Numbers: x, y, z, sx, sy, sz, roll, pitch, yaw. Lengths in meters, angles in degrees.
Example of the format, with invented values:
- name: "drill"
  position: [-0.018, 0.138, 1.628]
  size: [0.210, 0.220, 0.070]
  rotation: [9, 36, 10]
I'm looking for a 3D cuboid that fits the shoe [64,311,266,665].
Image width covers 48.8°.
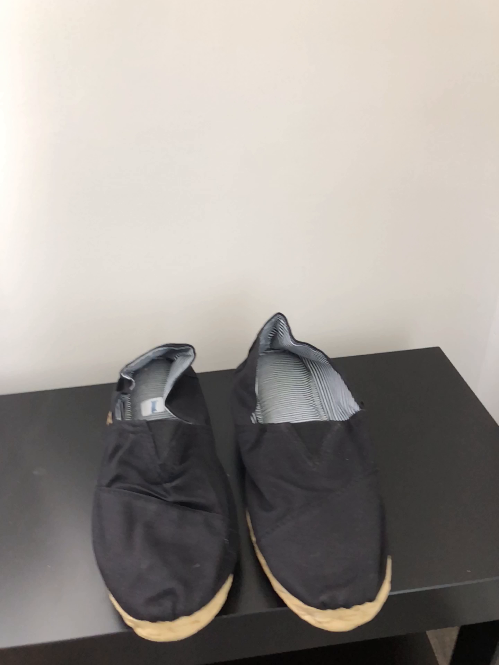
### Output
- name: "shoe"
  position: [-0.059, 0.091, 0.418]
  size: [0.101, 0.080, 0.275]
  rotation: [-6, 32, -5]

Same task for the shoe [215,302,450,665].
- name: "shoe"
  position: [0.037, 0.083, 0.415]
  size: [0.101, 0.080, 0.275]
  rotation: [-6, 32, -5]
